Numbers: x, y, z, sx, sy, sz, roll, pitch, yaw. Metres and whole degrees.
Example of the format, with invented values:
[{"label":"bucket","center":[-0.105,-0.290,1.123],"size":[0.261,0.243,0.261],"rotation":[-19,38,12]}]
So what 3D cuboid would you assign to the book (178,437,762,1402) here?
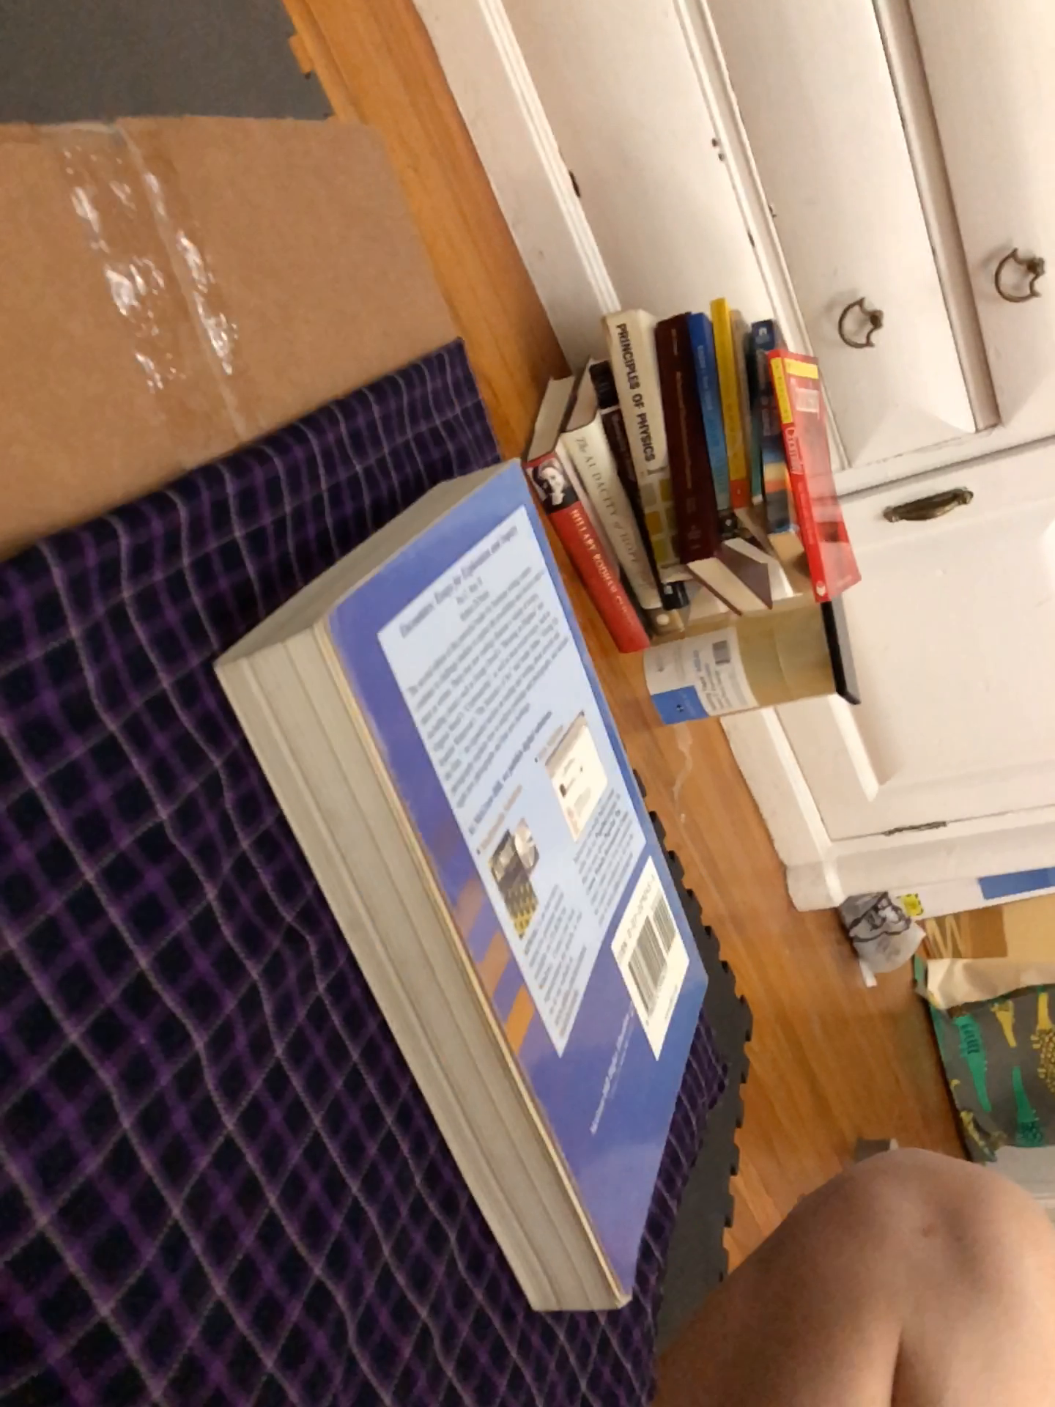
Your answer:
[{"label":"book","center":[0.009,0.057,0.374],"size":[0.240,0.040,0.181],"rotation":[67,27,-20]}]
